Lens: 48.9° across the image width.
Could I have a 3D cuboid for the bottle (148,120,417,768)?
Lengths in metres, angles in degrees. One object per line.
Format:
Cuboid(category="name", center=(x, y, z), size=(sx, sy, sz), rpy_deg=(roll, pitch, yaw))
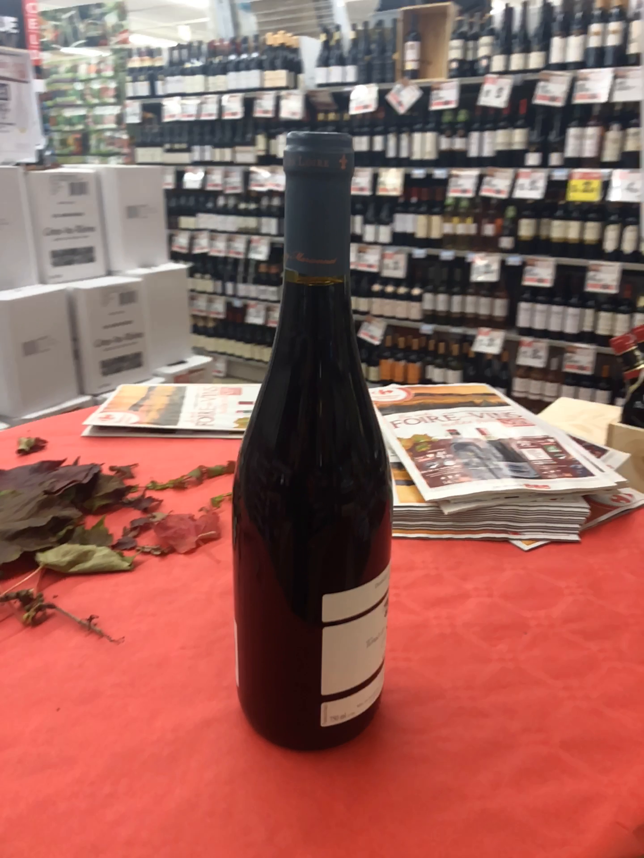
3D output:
Cuboid(category="bottle", center=(-0.010, 0.010, 0.345), size=(0.090, 0.289, 0.091), rpy_deg=(0, 20, 0))
